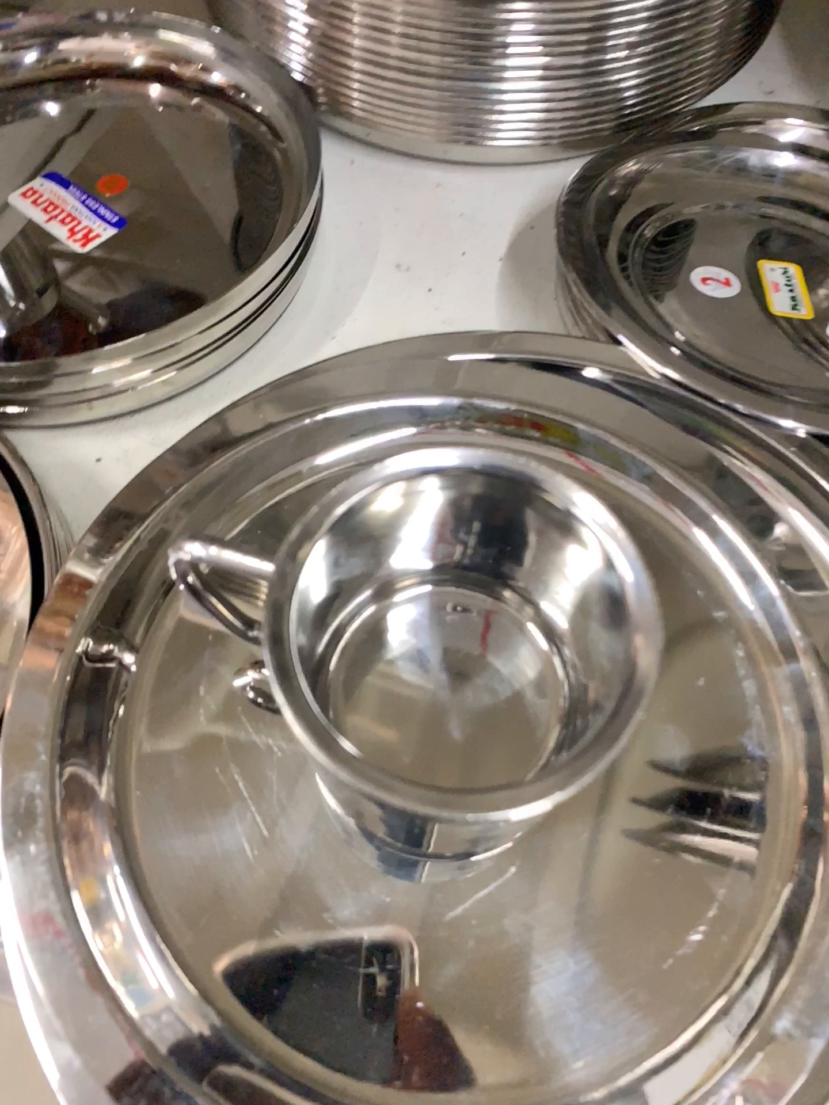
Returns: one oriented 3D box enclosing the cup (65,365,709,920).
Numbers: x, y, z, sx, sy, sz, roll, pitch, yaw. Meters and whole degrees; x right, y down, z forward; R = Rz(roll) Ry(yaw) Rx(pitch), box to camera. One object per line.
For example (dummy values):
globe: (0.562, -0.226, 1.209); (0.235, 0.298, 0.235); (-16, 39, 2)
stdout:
cup: (-0.001, 0.022, 0.173); (0.090, 0.070, 0.070); (16, 65, 7)
